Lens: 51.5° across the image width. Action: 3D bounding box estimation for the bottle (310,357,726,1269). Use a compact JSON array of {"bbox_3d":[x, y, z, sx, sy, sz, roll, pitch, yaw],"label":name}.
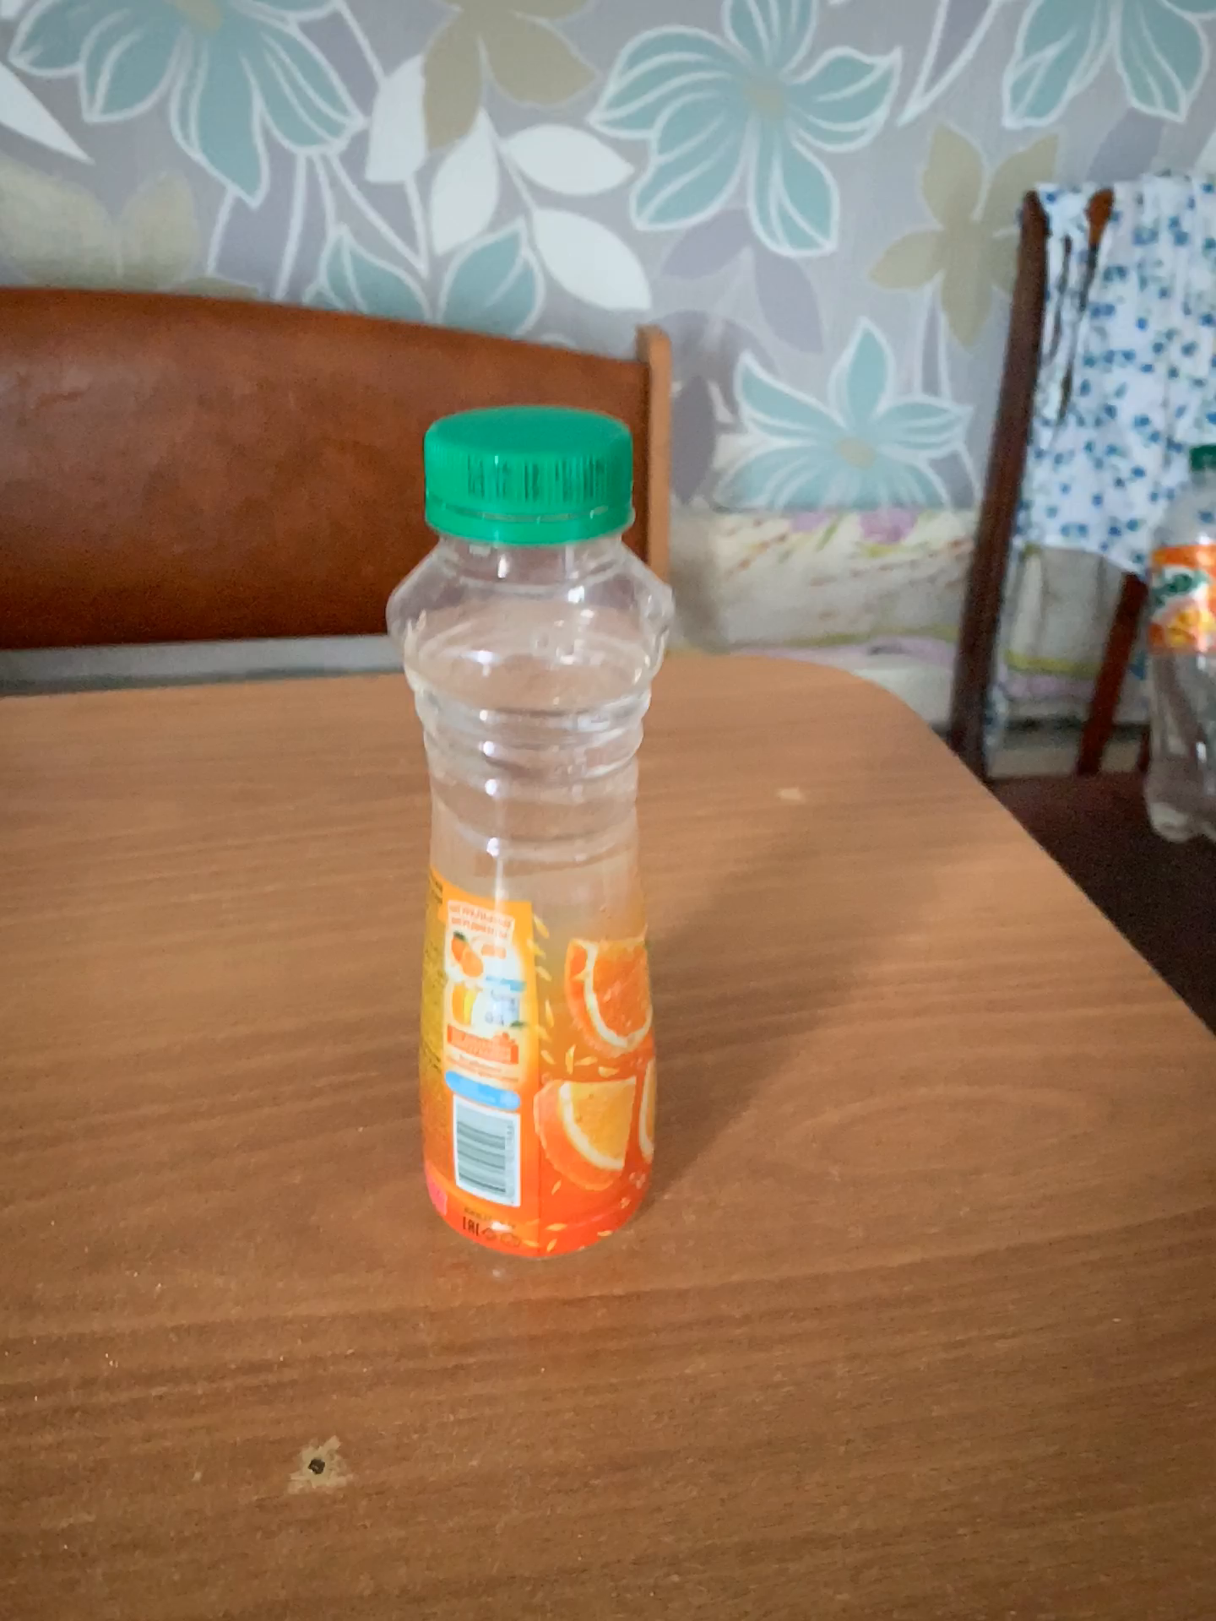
[{"bbox_3d":[-0.021,0.007,0.293,0.070,0.200,0.071,1,31,-1],"label":"bottle"}]
